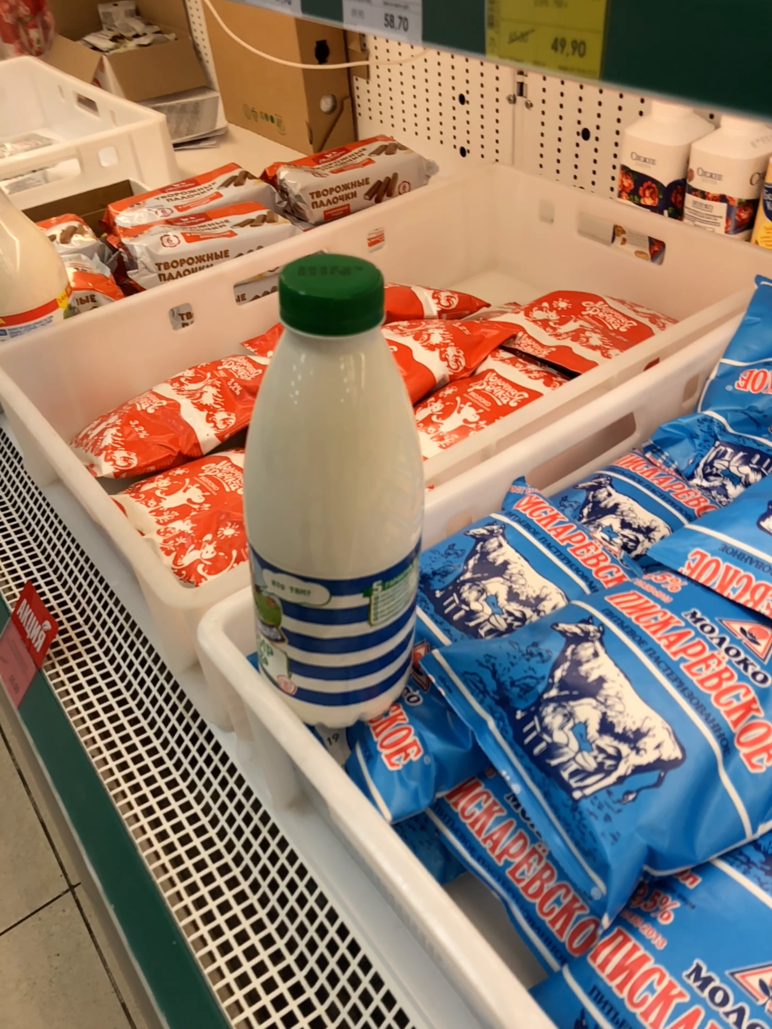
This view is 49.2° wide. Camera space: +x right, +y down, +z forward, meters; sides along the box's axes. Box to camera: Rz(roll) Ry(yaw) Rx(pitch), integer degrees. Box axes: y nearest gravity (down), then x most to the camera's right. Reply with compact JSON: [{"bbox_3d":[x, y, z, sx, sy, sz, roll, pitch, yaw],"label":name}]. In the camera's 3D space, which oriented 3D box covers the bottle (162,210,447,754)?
[{"bbox_3d":[-0.032,-0.006,0.381,0.080,0.223,0.084,0,39,0],"label":"bottle"}]
